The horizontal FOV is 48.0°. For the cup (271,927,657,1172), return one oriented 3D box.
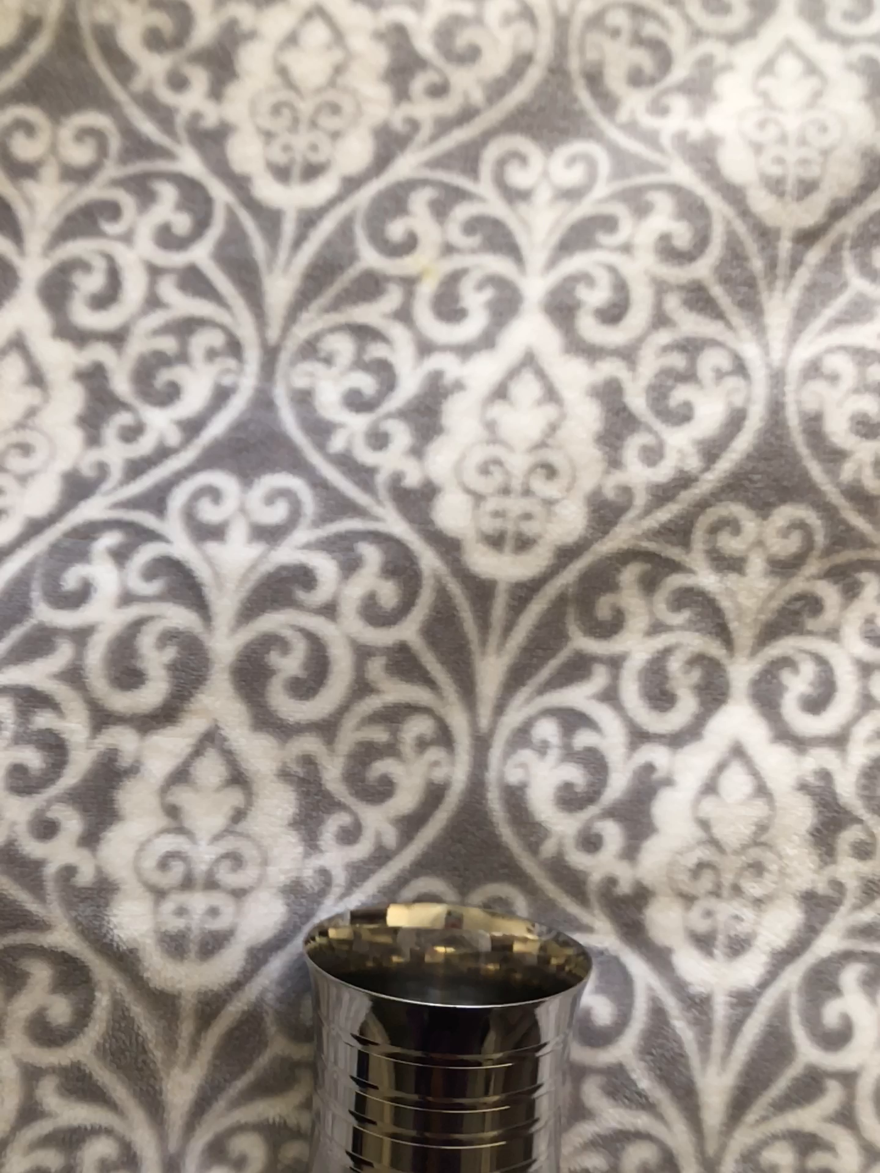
[{"bbox_3d":[0.004,0.137,0.242,0.077,0.066,0.086,4,83,-4],"label":"cup"}]
